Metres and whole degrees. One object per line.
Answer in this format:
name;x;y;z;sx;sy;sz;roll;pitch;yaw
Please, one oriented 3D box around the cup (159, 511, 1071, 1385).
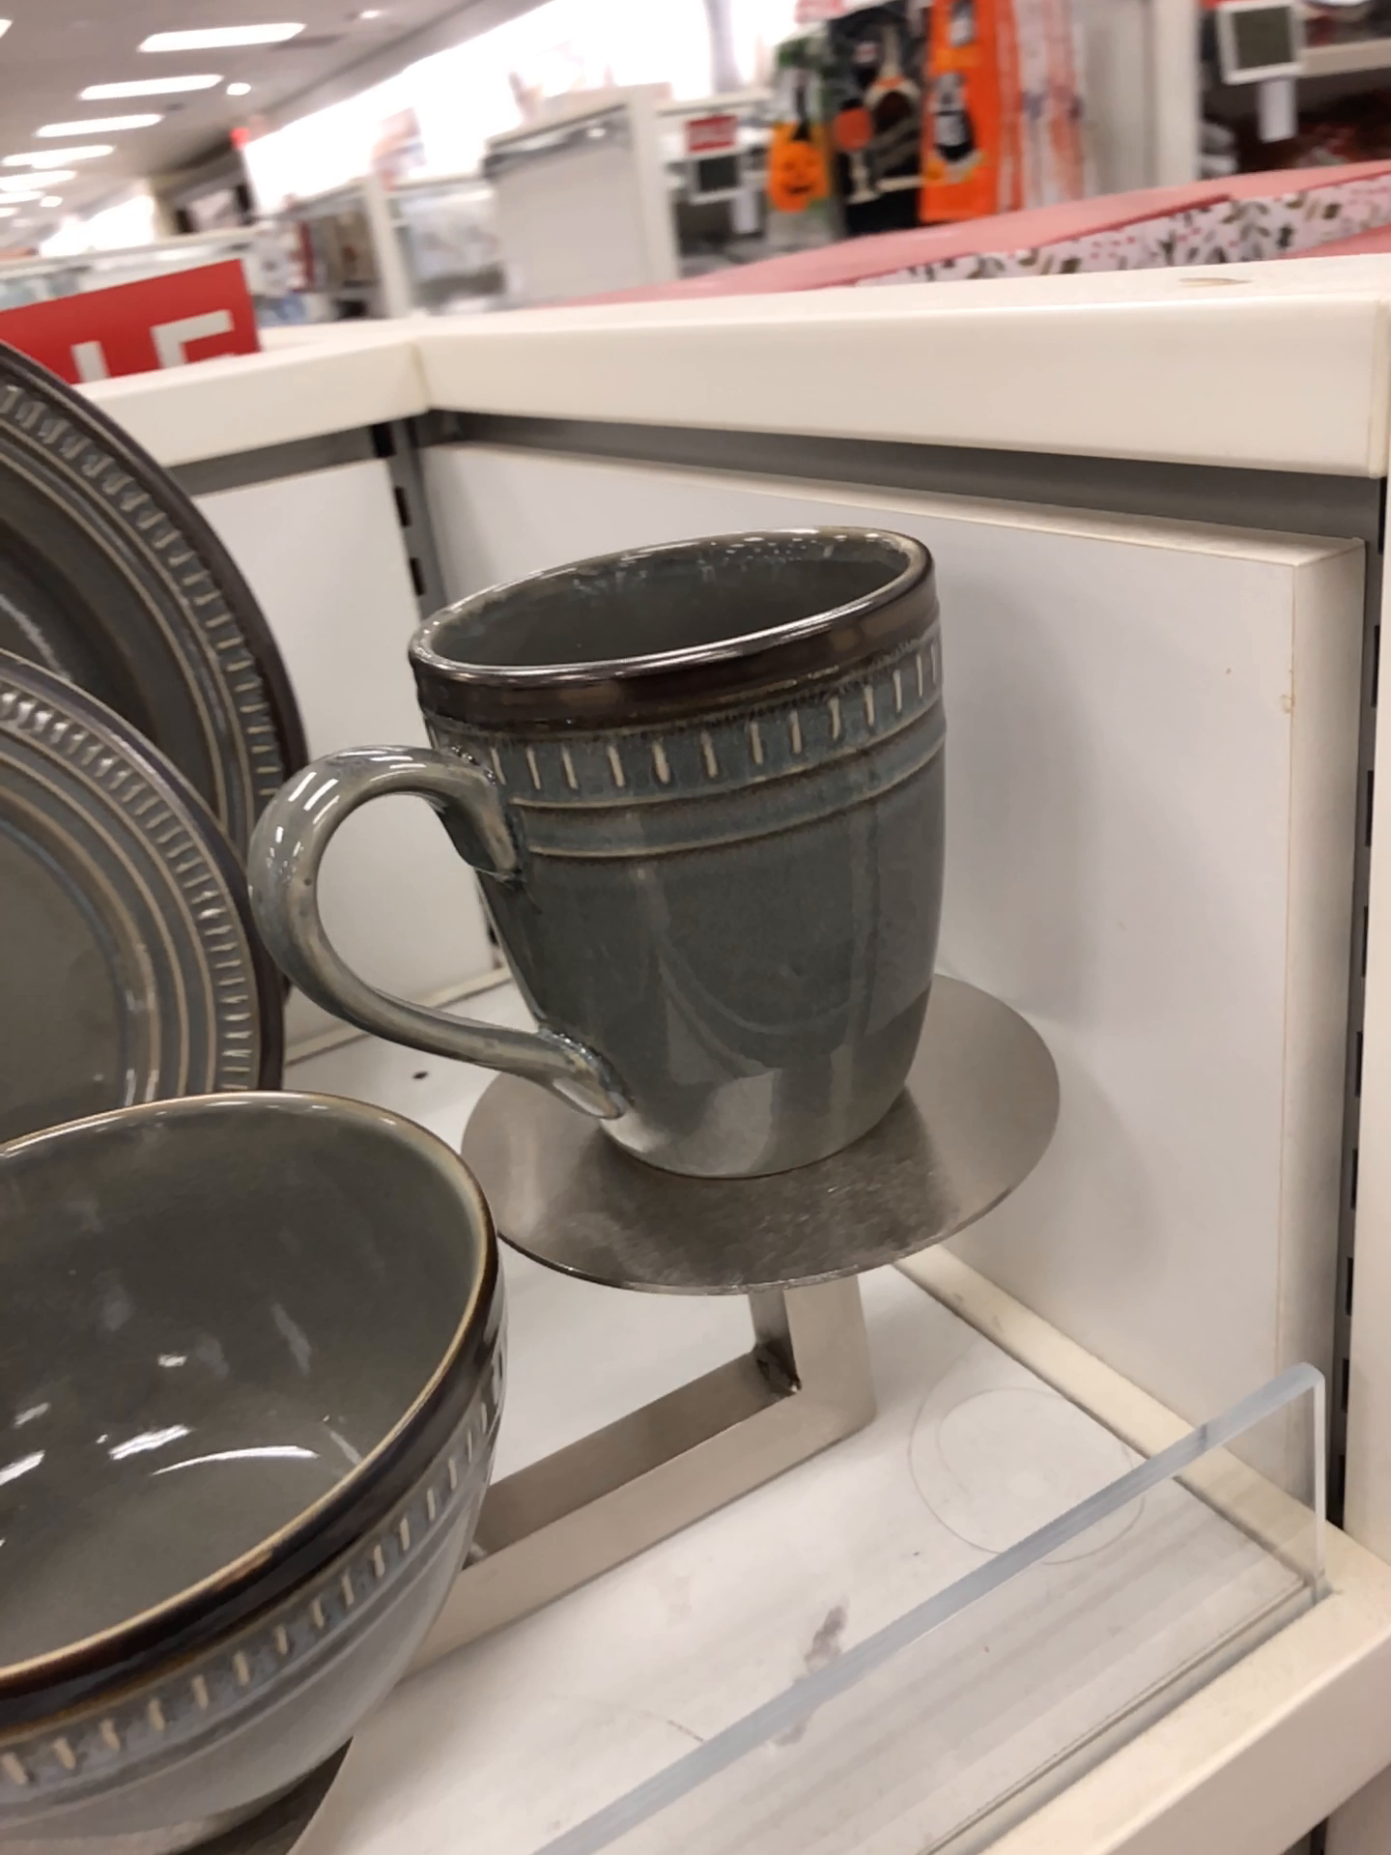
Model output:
cup;-0.008;-0.009;0.289;0.126;0.106;0.089;-26;28;-33
